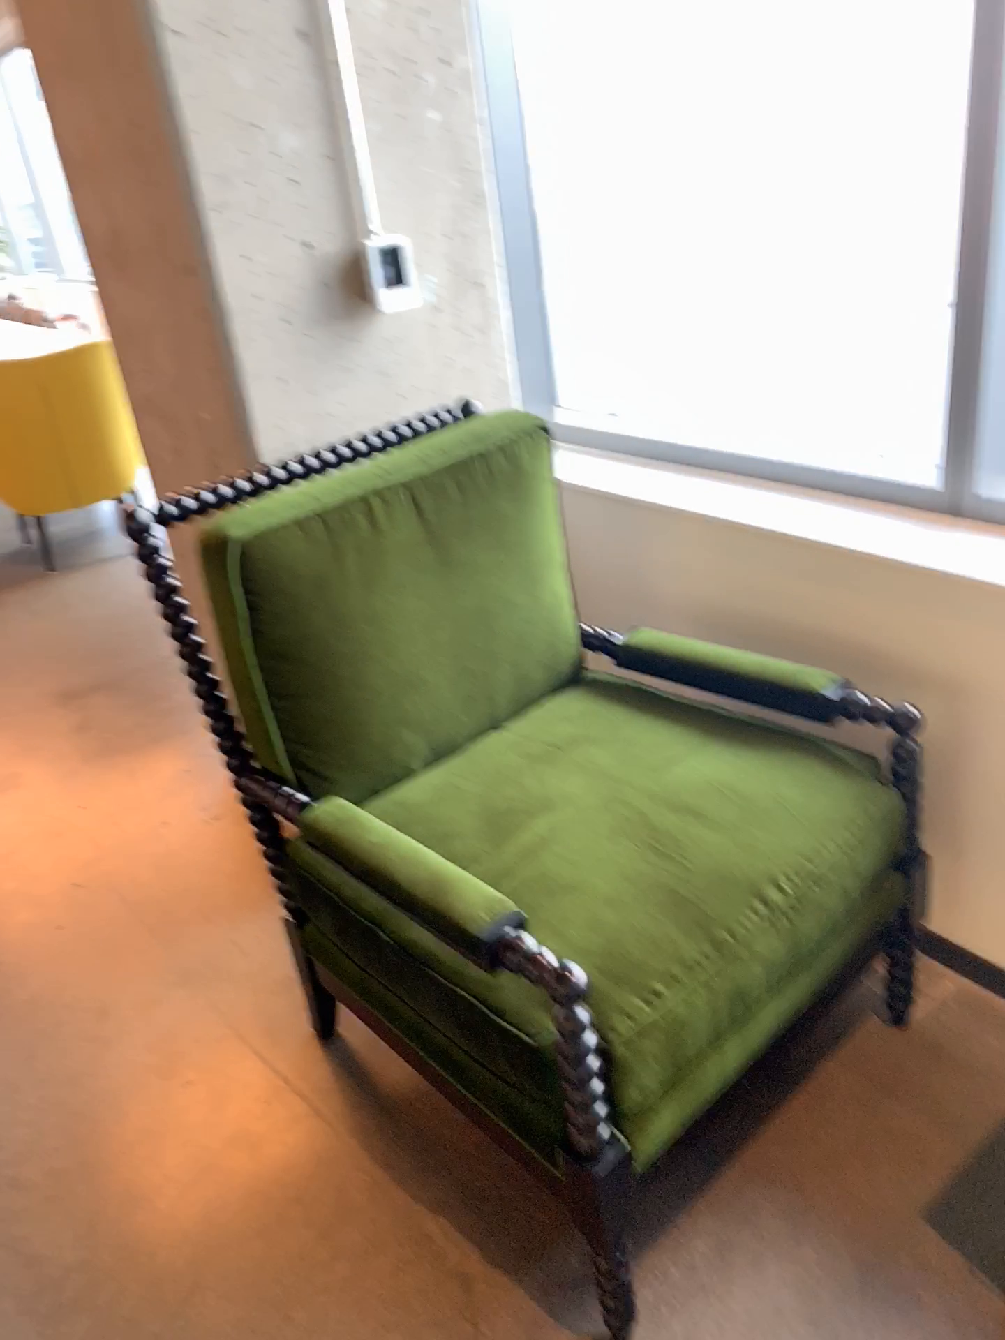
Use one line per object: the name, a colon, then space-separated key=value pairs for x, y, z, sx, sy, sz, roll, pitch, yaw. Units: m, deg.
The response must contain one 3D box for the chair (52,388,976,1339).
chair: x=0.041 y=0.163 z=1.558 sx=0.842 sy=0.925 sz=0.913 roll=-28 pitch=33 yaw=-35
